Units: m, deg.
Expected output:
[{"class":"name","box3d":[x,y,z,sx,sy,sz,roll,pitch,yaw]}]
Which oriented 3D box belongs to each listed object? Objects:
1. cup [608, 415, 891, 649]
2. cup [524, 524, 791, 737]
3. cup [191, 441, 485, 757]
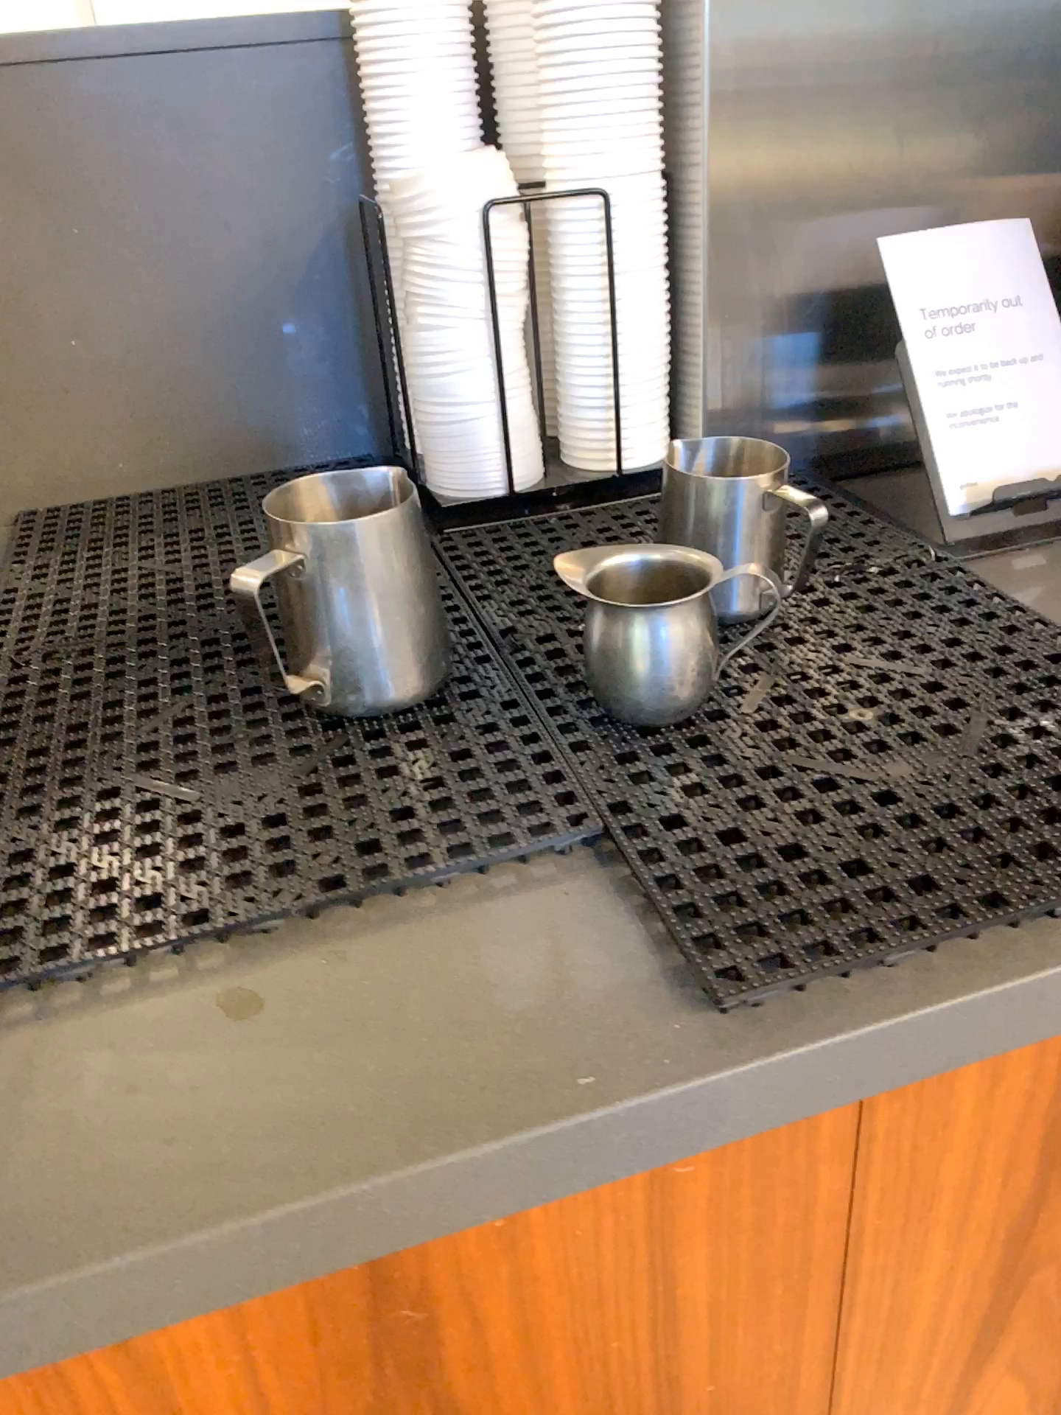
[{"class":"cup","box3d":[0.117,-0.103,0.607,0.080,0.080,0.131,-23,35,-29]},{"class":"cup","box3d":[0.063,-0.039,0.519,0.110,0.070,0.070,6,32,18]},{"class":"cup","box3d":[-0.089,-0.059,0.547,0.070,0.109,0.120,13,35,28]}]
